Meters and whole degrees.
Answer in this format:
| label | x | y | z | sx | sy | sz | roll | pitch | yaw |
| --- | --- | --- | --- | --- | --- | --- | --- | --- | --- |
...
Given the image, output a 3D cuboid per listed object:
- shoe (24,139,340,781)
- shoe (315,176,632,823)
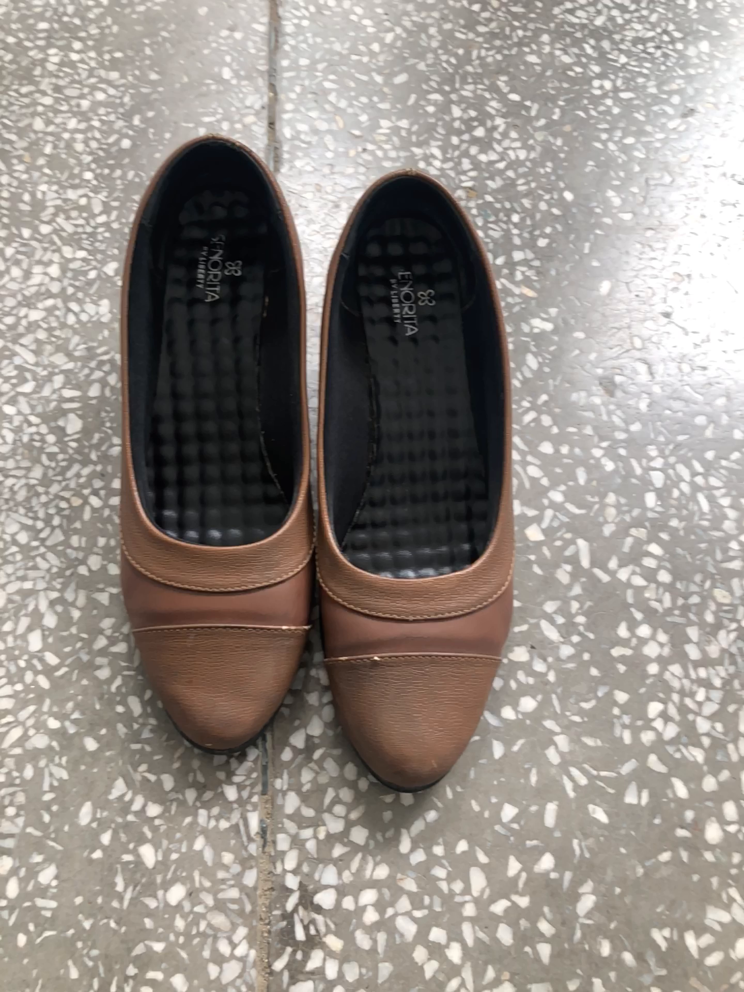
| label | x | y | z | sx | sy | sz | roll | pitch | yaw |
| --- | --- | --- | --- | --- | --- | --- | --- | --- | --- |
| shoe | -0.060 | -0.017 | 0.339 | 0.090 | 0.096 | 0.244 | 1 | 65 | -2 |
| shoe | 0.024 | -0.002 | 0.333 | 0.092 | 0.096 | 0.241 | 0 | 65 | -3 |
